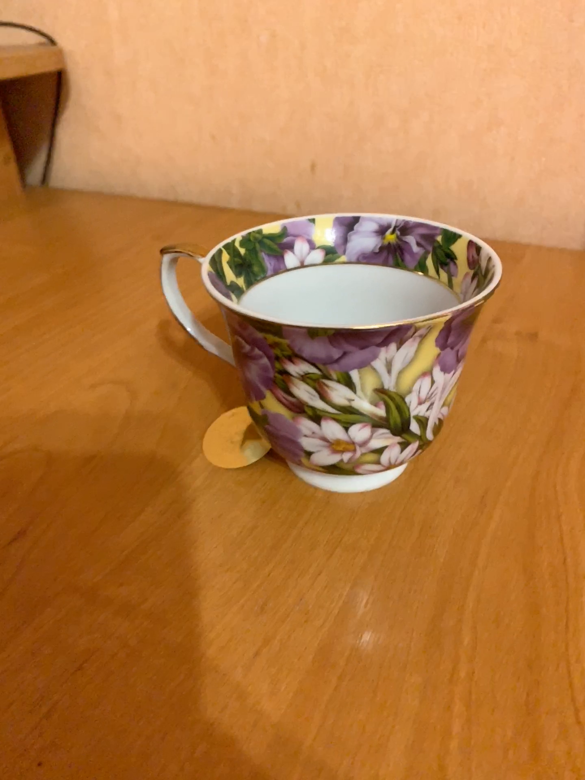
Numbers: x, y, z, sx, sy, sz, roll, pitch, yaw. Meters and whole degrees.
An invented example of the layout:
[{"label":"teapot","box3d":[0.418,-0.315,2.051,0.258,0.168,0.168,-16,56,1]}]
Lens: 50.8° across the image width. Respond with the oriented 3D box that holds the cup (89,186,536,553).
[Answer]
[{"label":"cup","box3d":[0.009,-0.017,0.200,0.109,0.069,0.077,15,36,26]}]
